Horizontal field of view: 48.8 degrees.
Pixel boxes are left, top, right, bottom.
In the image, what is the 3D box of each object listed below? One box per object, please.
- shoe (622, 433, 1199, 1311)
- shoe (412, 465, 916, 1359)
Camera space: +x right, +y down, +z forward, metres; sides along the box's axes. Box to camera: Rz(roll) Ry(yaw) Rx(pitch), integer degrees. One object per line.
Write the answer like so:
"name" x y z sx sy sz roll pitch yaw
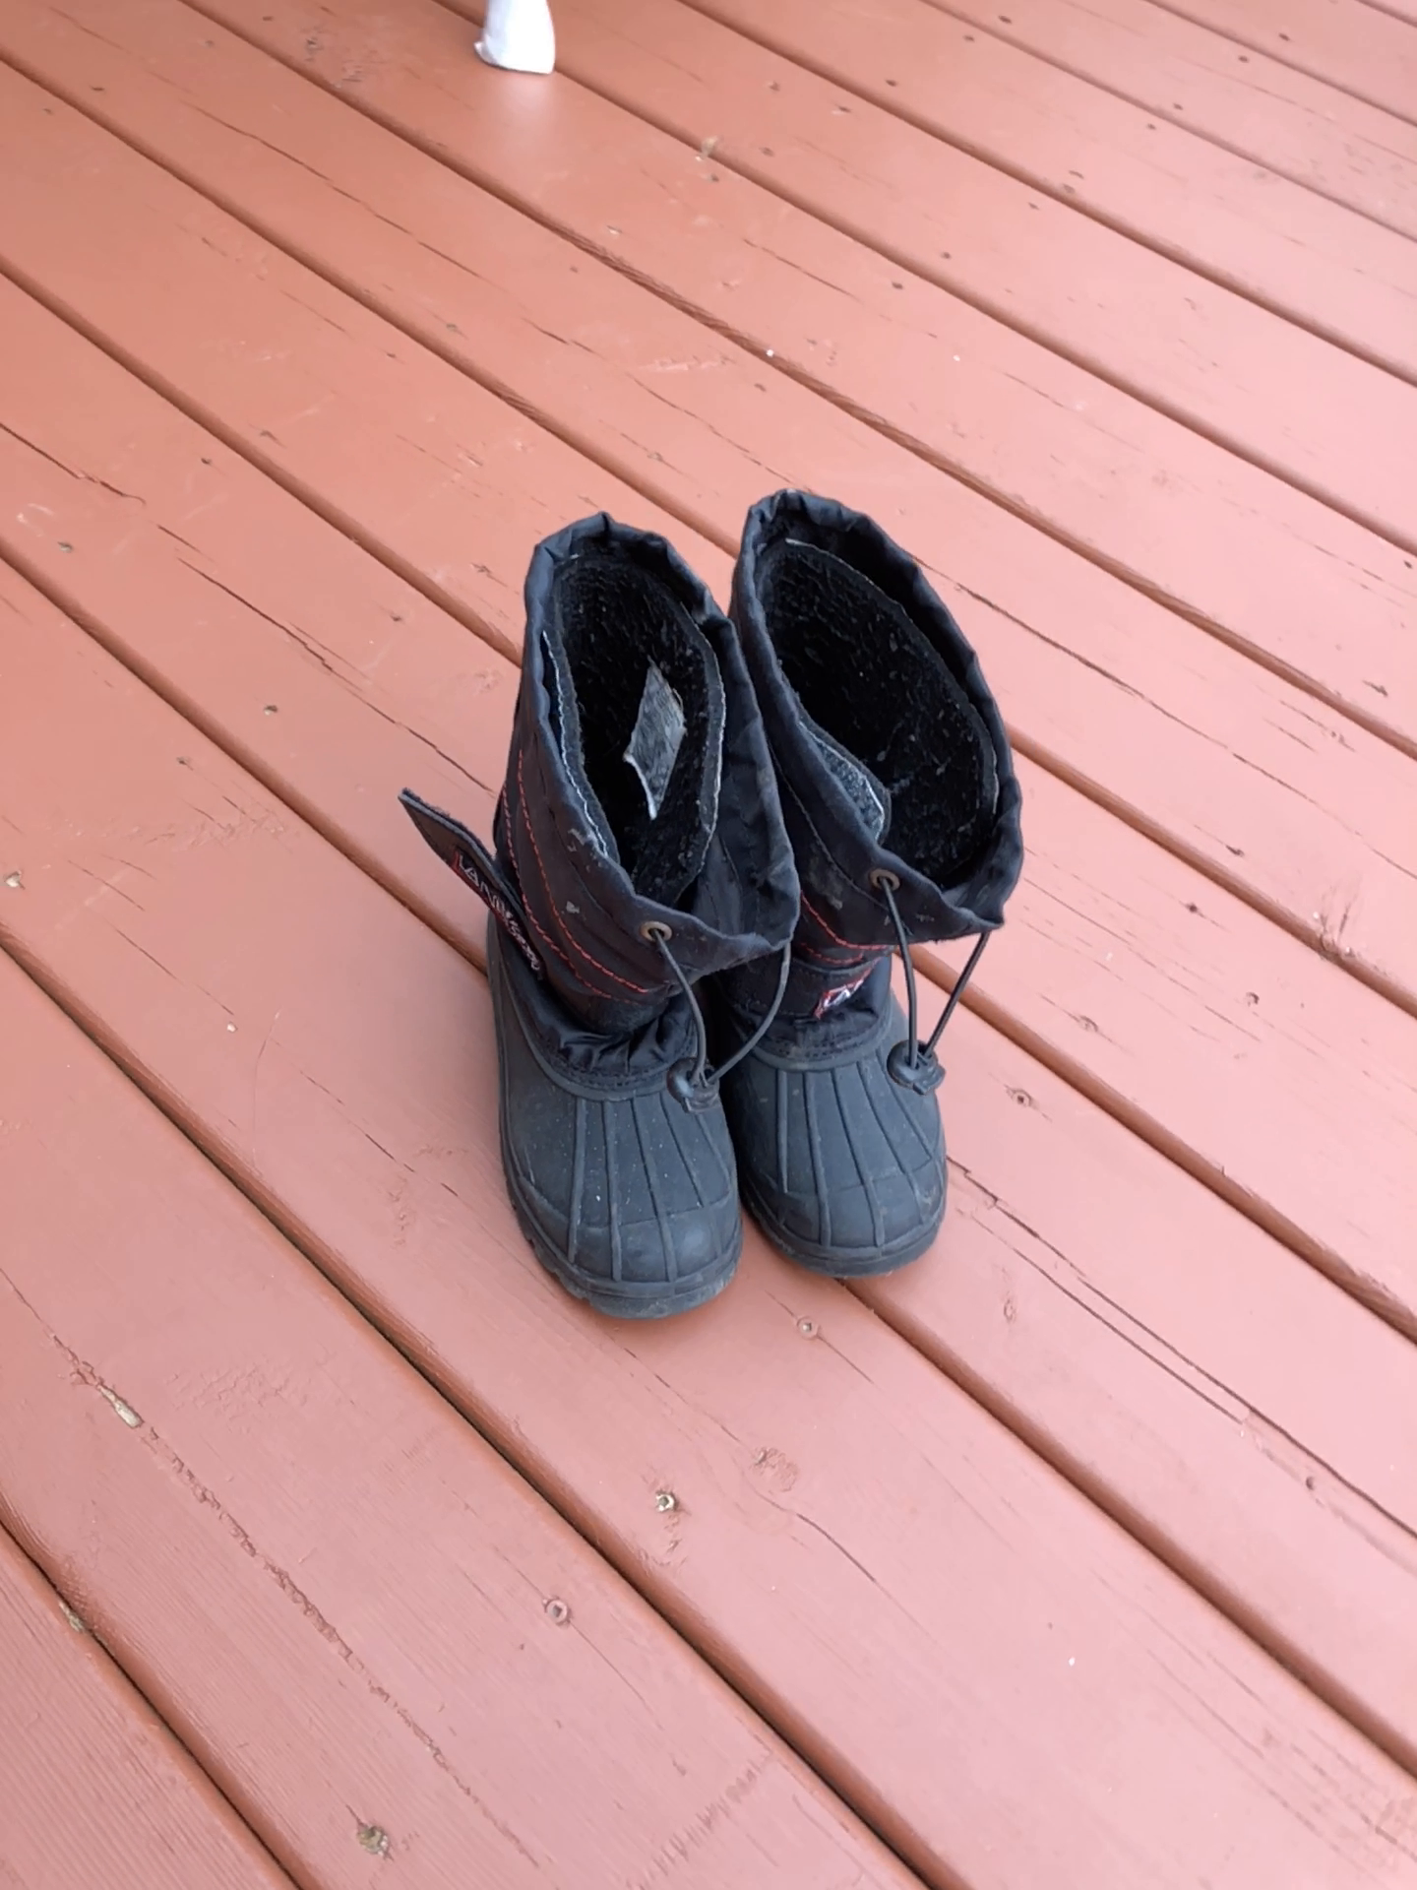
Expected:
"shoe" 0.049 -0.018 0.574 0.100 0.230 0.210 -15 58 -13
"shoe" -0.026 -0.003 0.556 0.100 0.230 0.210 -11 58 -11
